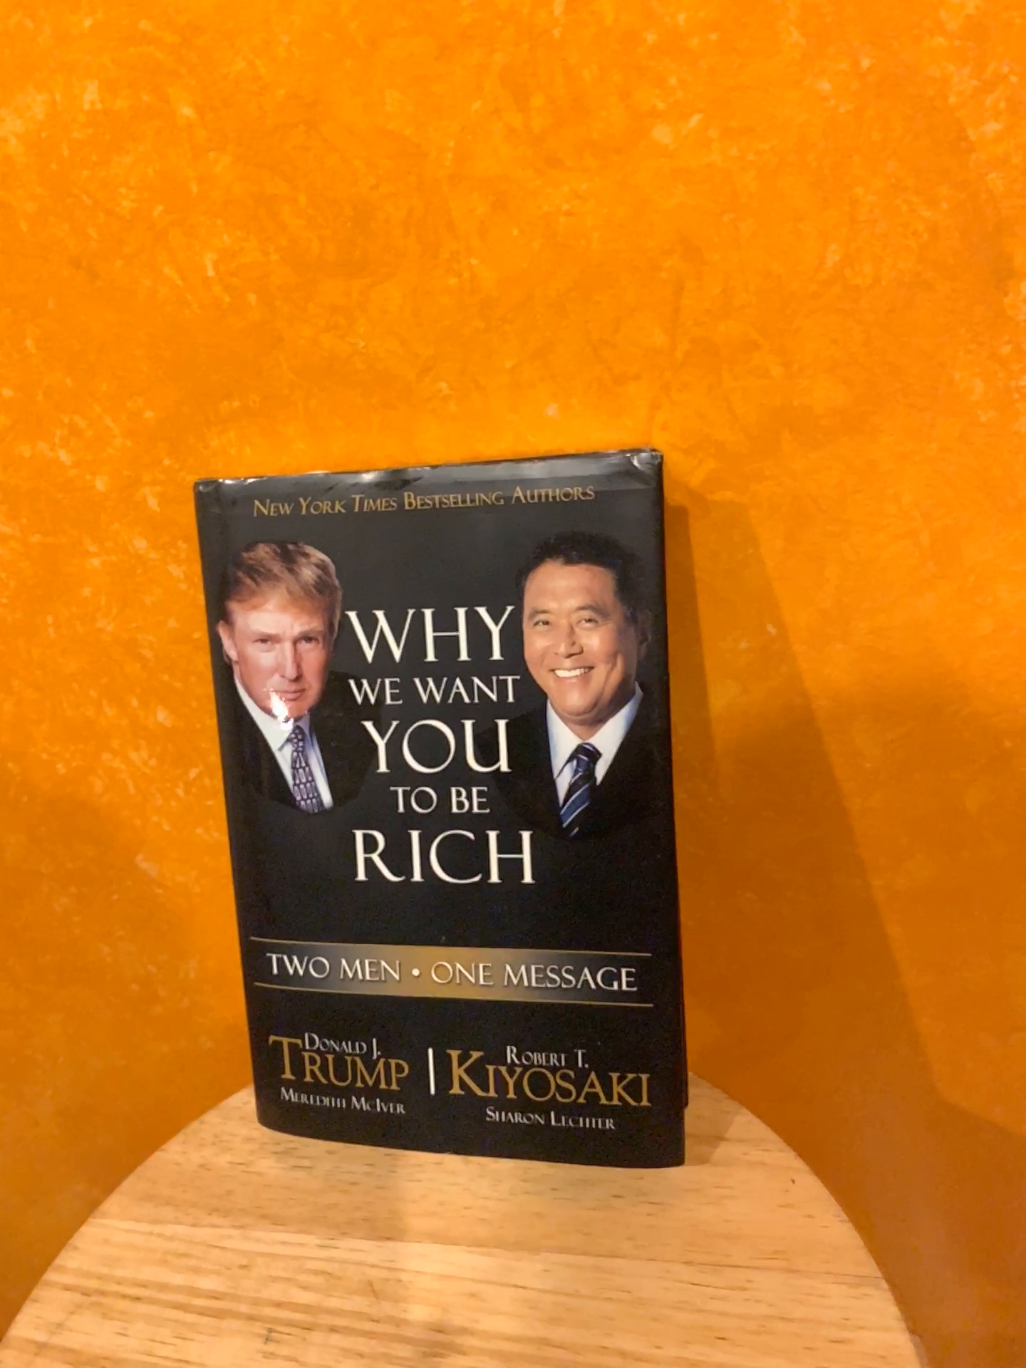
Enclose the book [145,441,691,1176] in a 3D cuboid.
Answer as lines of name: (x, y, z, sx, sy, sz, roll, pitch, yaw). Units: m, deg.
book: (-0.025, 0.037, 0.334, 0.151, 0.210, 0.044, -1, 9, 14)
